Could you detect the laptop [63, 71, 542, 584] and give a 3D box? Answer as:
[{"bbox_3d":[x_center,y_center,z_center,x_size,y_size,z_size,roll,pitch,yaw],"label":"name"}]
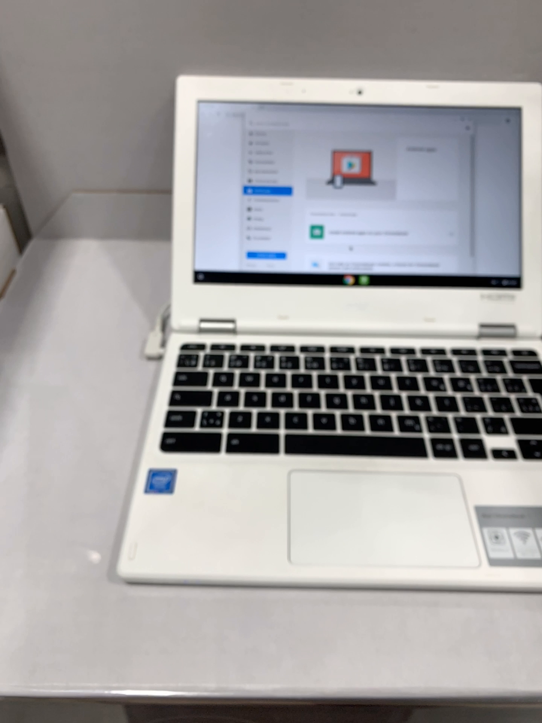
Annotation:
[{"bbox_3d":[0.066,-0.052,0.372,0.282,0.132,0.330,2,46,0],"label":"laptop"}]
